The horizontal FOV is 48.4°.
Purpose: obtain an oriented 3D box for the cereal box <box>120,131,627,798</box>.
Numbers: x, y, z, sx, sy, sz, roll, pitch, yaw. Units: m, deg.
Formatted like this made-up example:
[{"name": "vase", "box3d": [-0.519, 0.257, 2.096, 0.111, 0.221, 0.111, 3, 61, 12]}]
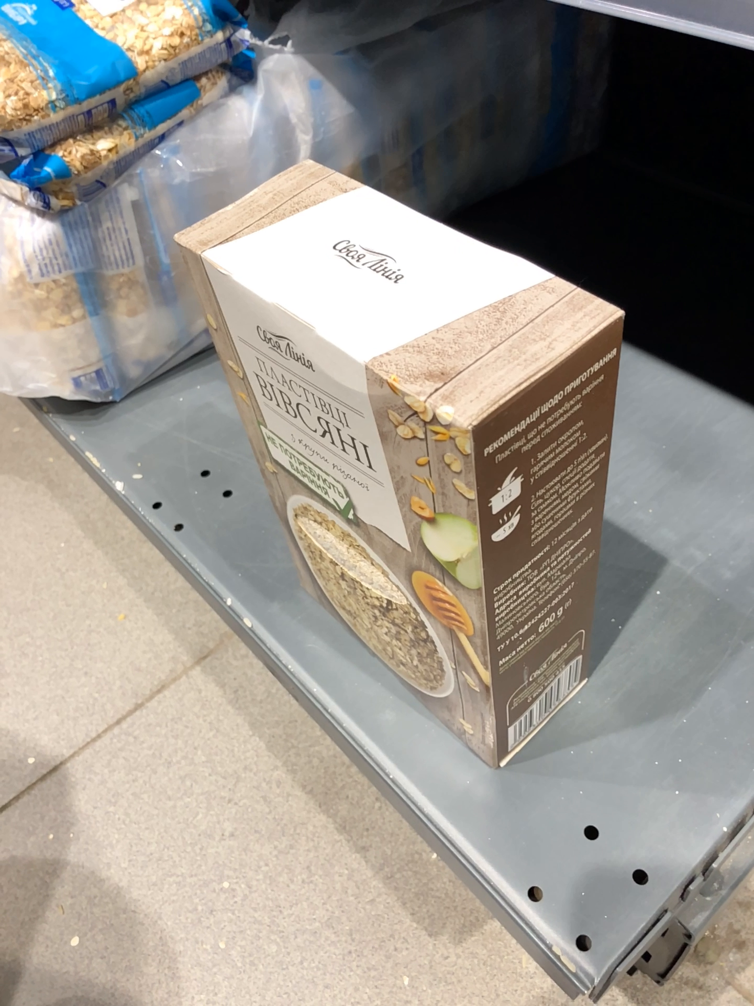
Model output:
[{"name": "cereal box", "box3d": [0.006, -0.002, 0.334, 0.070, 0.228, 0.151, -38, 54, -20]}]
